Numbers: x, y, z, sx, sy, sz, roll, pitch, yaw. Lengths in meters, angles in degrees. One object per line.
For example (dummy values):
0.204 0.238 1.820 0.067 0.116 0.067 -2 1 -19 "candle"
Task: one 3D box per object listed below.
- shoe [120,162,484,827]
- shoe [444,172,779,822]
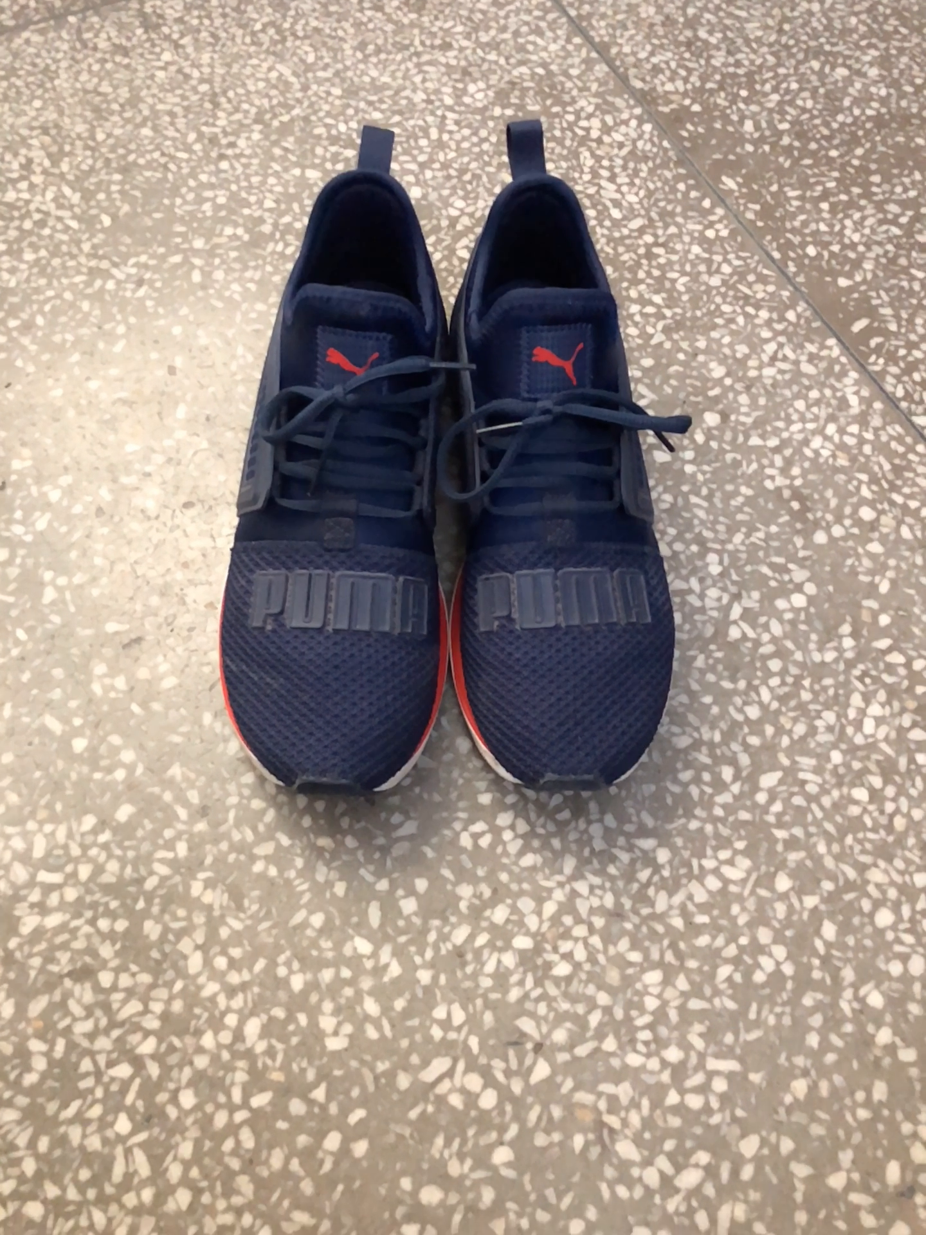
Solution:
-0.053 -0.055 0.439 0.107 0.113 0.258 4 63 -1 "shoe"
0.047 -0.054 0.441 0.107 0.113 0.258 1 63 -2 "shoe"
